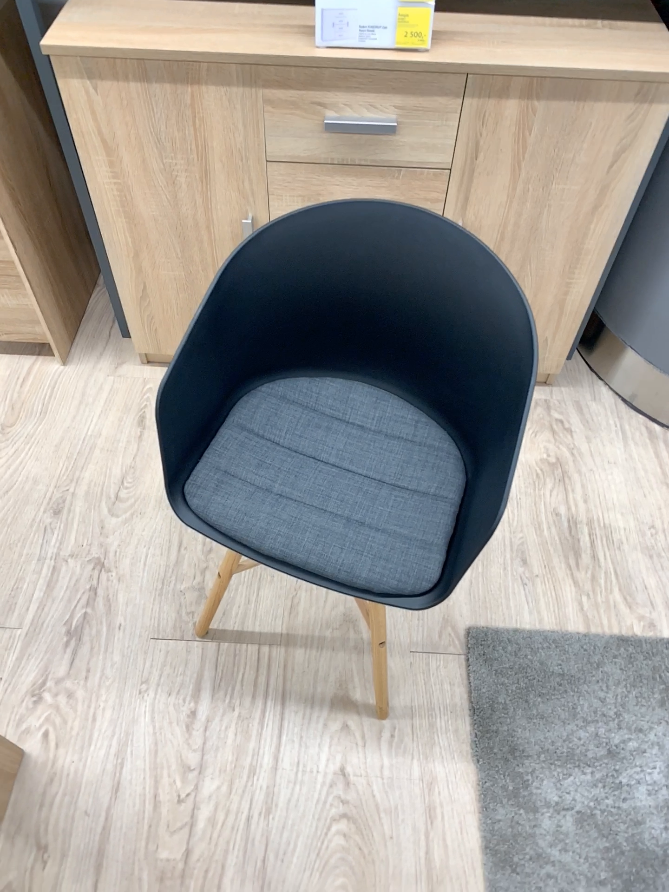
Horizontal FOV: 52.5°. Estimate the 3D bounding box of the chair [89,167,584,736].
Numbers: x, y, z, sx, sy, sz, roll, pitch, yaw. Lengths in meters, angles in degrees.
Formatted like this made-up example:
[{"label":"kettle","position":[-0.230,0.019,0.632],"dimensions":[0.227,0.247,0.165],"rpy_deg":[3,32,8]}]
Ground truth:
[{"label":"chair","position":[0.033,0.052,1.236],"dimensions":[0.510,0.787,0.552],"rpy_deg":[18,54,12]}]
